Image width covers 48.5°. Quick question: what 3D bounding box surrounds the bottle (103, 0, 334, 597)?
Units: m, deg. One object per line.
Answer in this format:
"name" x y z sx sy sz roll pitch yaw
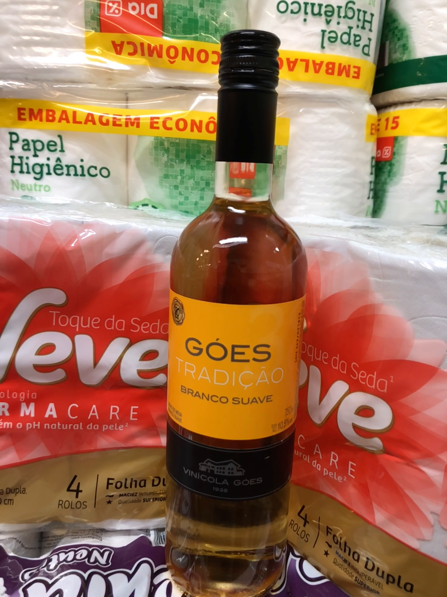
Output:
"bottle" 0.002 0.020 0.282 0.090 0.318 0.090 1 13 0
